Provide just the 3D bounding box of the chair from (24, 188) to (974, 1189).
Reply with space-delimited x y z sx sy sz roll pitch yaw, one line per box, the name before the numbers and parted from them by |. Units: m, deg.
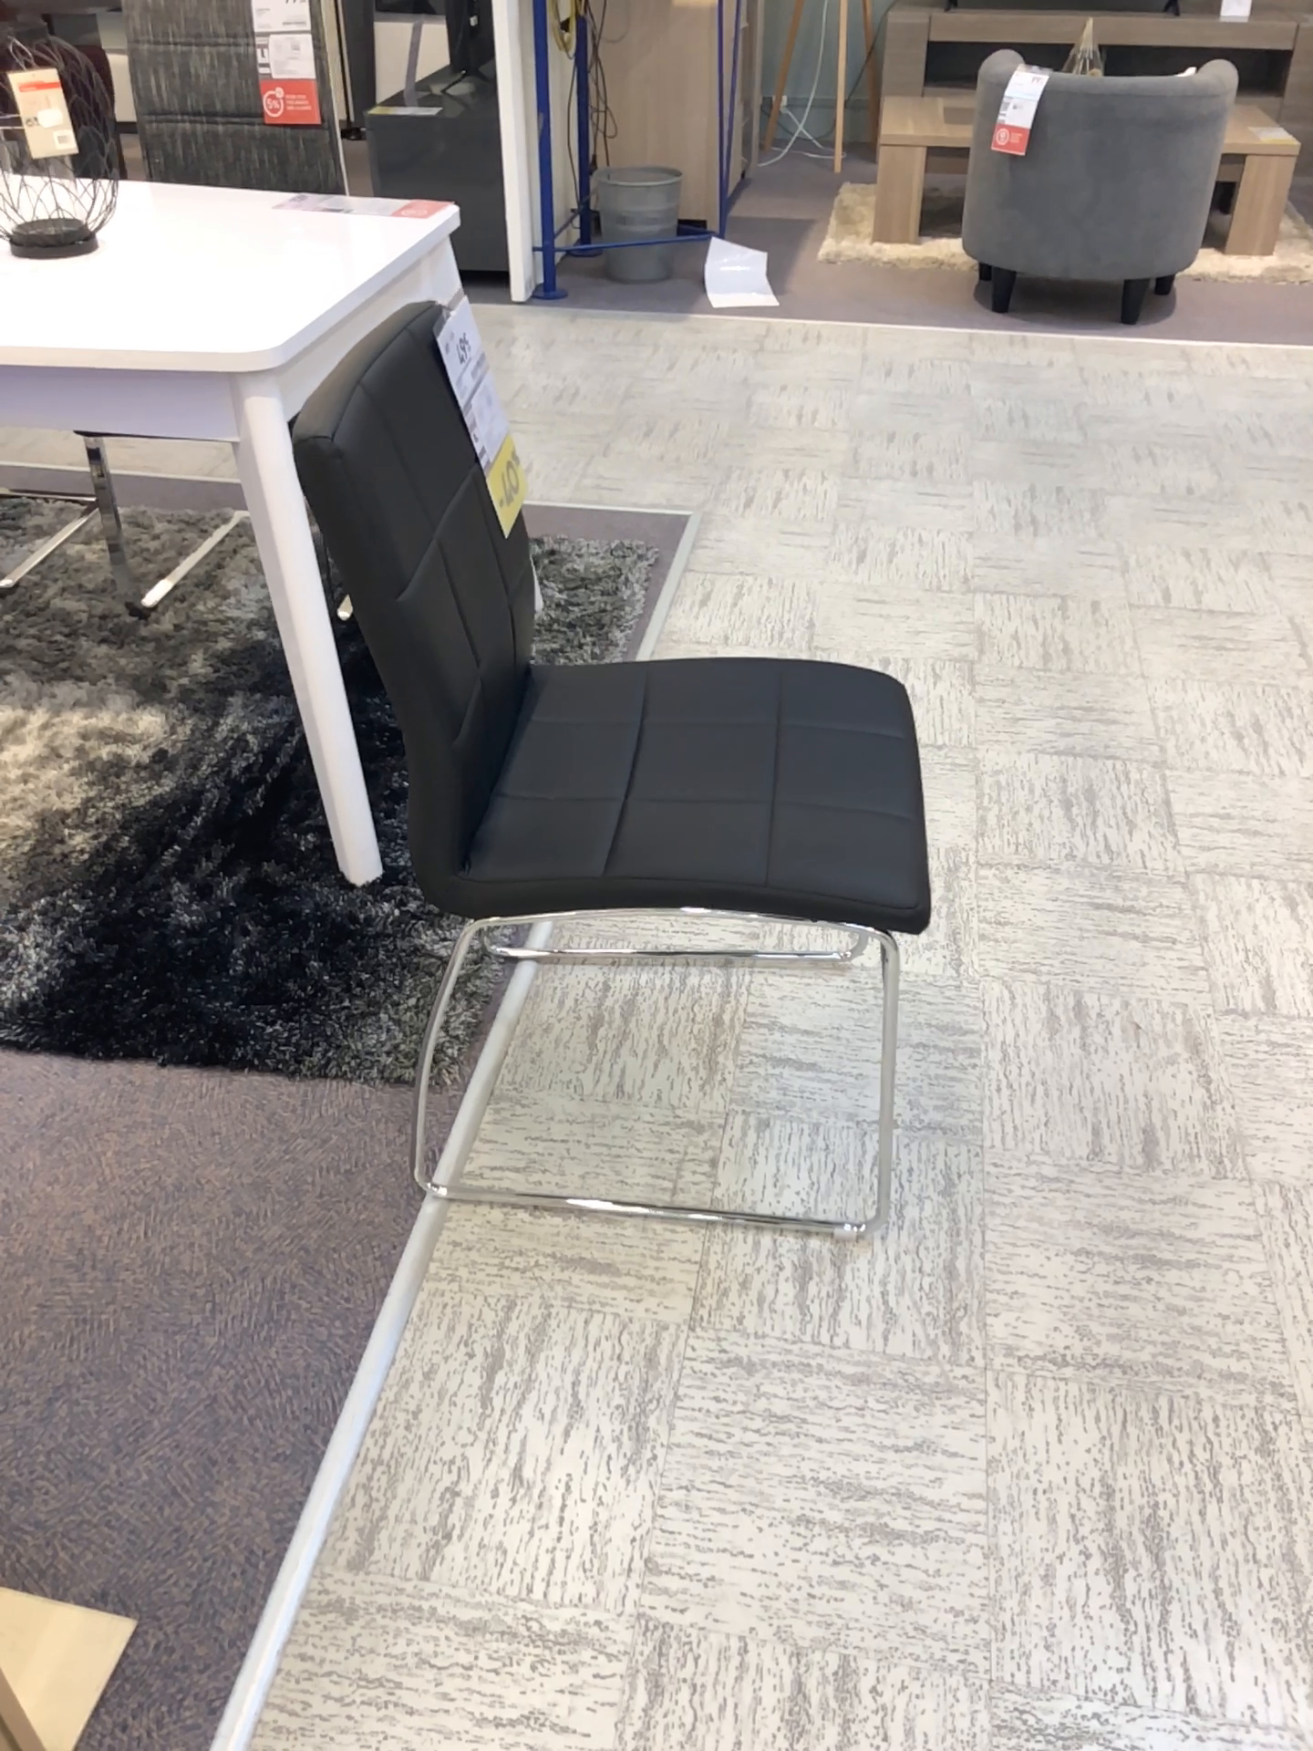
chair | -0.100 -0.176 1.410 0.630 0.795 0.554 1 38 1
